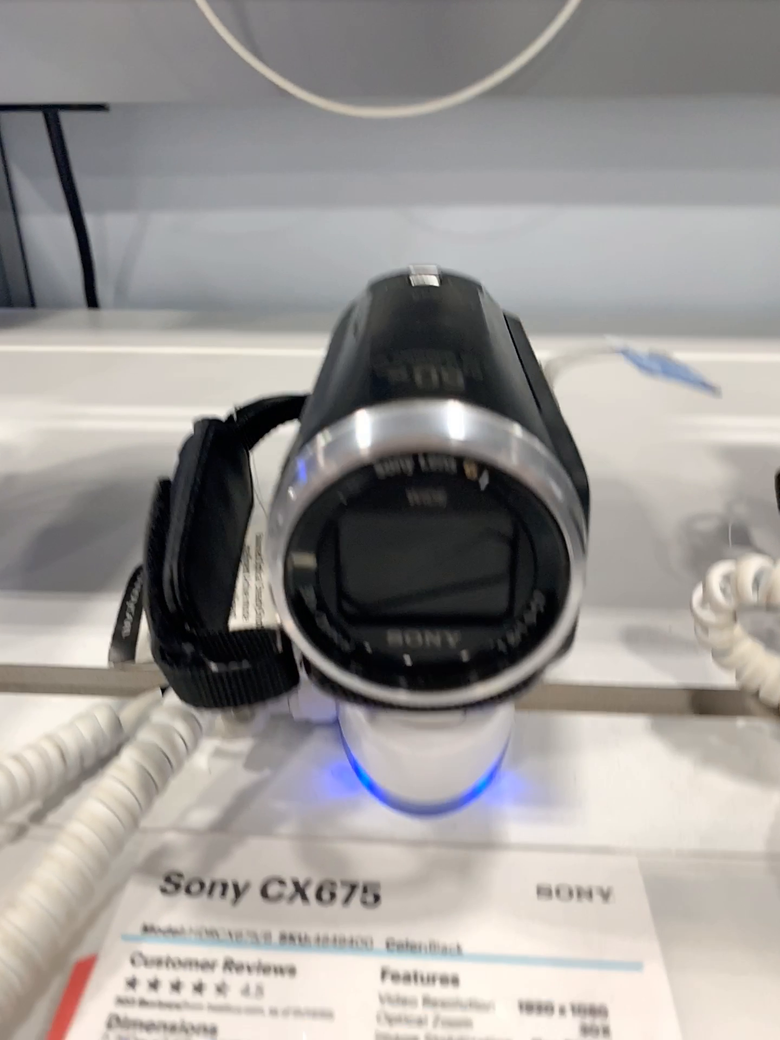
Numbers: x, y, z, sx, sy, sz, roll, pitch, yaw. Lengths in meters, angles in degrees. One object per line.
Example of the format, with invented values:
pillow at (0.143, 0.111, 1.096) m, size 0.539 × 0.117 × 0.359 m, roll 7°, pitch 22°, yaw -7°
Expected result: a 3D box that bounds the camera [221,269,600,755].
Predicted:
camera at (0.005, -0.013, 0.178) m, size 0.053 × 0.060 × 0.113 m, roll 1°, pitch 28°, yaw 2°
